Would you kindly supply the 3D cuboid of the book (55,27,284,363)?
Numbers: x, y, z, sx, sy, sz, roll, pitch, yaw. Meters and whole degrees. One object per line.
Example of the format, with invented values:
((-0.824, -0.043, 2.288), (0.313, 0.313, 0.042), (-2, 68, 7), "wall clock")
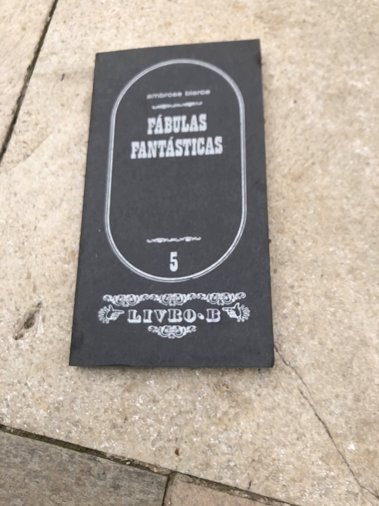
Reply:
((-0.008, -0.035, 0.222), (0.104, 0.013, 0.176), (-1, 74, 8), "book")
